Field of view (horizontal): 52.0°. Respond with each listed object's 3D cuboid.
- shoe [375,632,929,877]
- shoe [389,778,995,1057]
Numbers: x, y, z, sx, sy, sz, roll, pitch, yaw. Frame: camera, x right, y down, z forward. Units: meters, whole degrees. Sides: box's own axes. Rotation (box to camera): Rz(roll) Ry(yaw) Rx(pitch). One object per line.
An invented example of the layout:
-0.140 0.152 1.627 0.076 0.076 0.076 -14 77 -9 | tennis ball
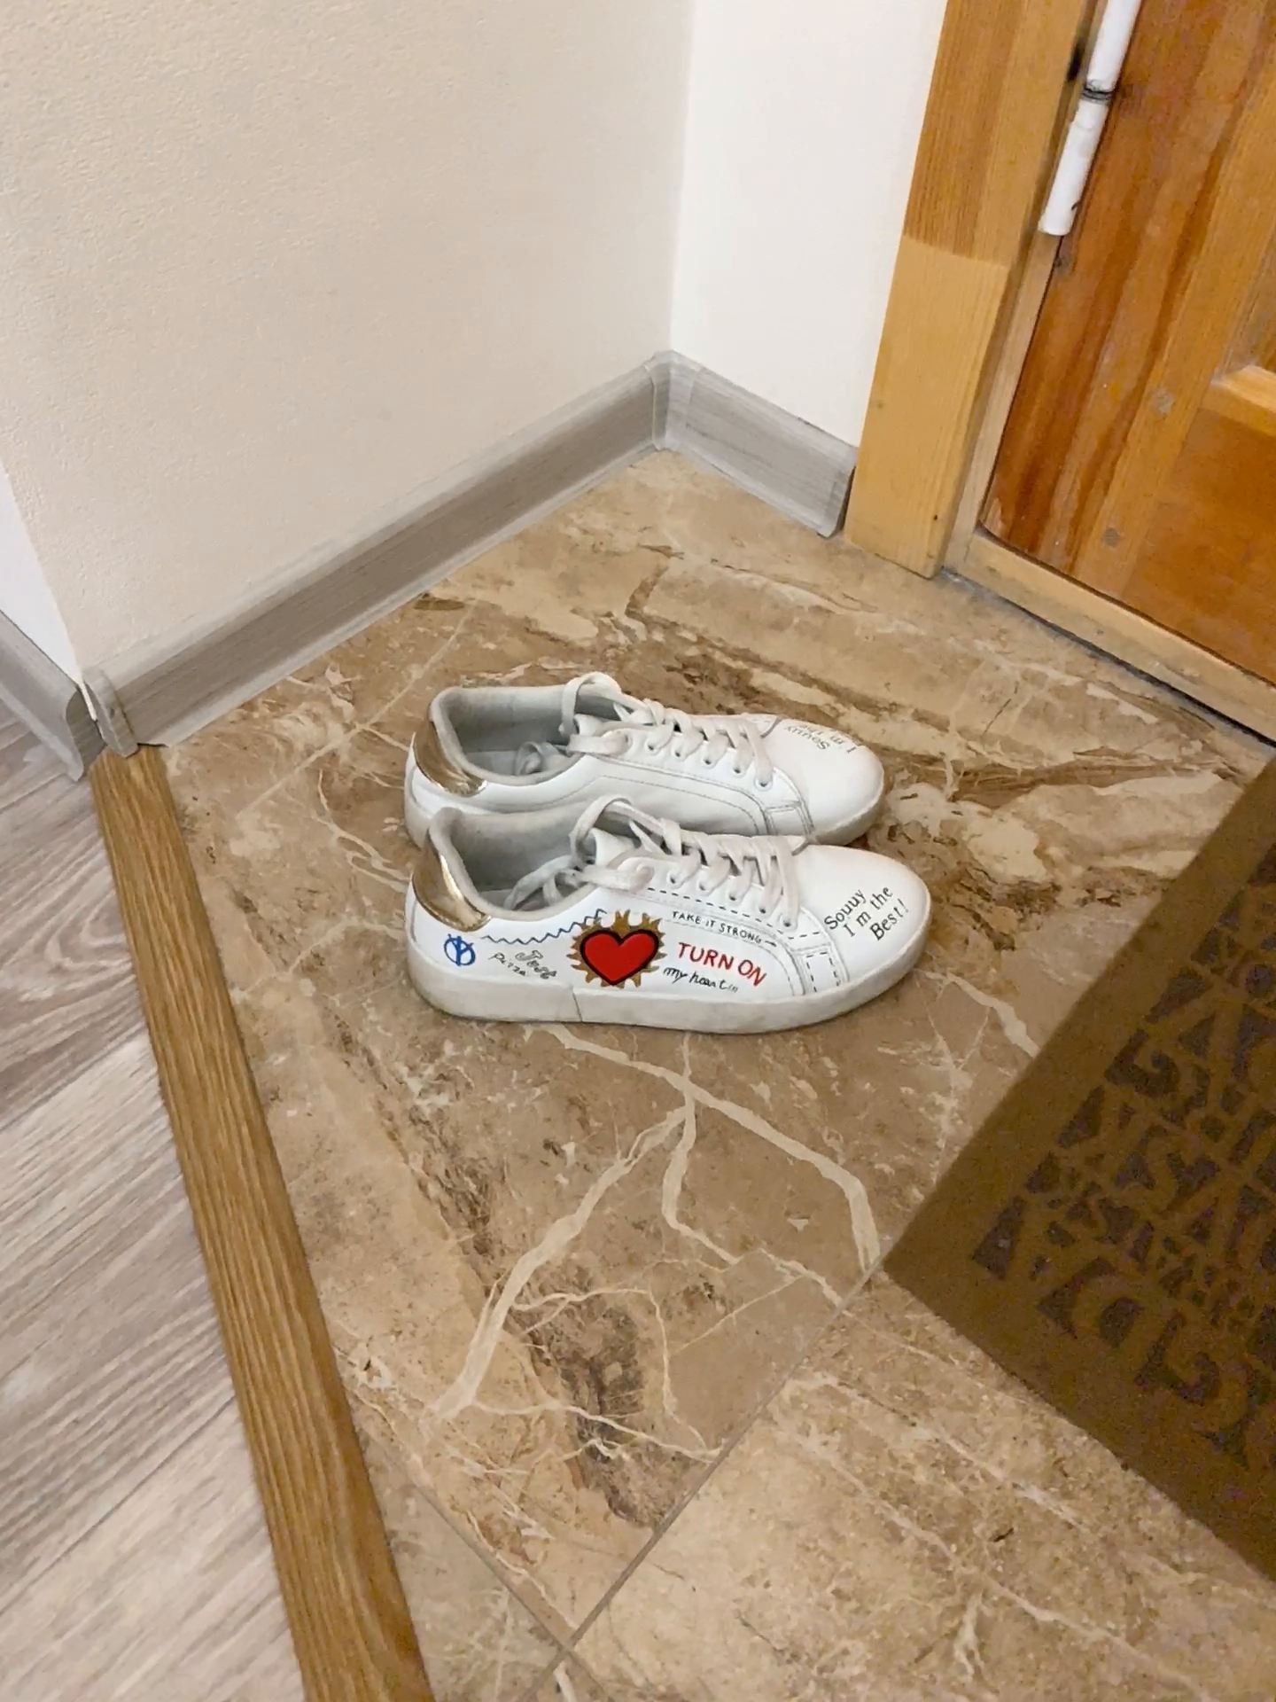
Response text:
0.004 -0.050 0.663 0.256 0.080 0.093 -1 50 -4 | shoe
0.020 0.030 0.609 0.256 0.080 0.093 -1 50 -5 | shoe
